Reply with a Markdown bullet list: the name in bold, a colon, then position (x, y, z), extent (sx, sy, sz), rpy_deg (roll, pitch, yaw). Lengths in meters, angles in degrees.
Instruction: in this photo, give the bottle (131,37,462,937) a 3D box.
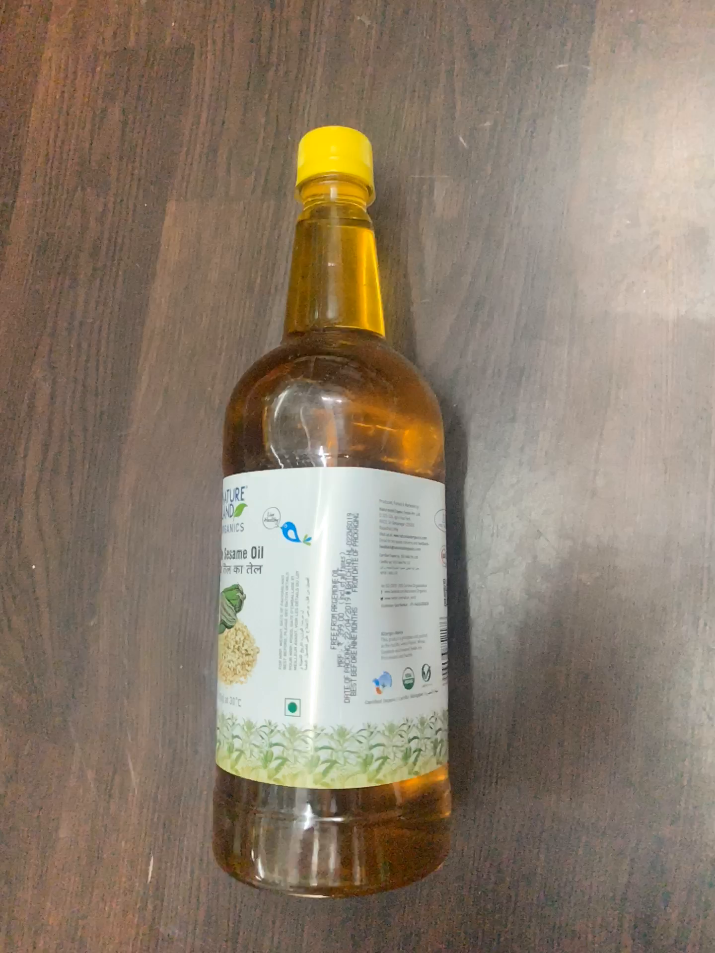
- **bottle**: position (-0.022, 0.000, 0.274), extent (0.080, 0.090, 0.270), rpy_deg (-15, 72, 62)
